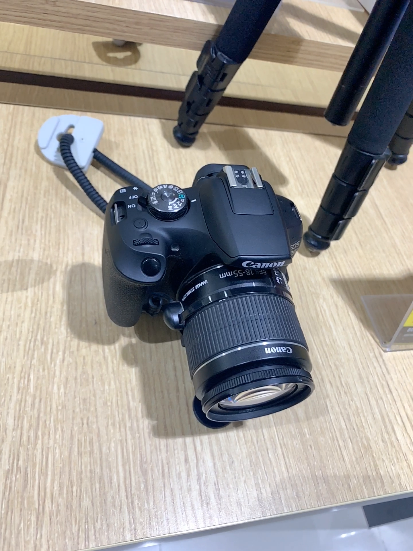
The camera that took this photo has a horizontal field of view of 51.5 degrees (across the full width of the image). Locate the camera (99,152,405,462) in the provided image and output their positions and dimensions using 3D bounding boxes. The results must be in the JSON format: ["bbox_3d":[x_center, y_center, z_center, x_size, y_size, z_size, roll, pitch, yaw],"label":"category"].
[{"bbox_3d":[0.007,0.013,0.248,0.121,0.088,0.140,-3,54,-18],"label":"camera"}]
